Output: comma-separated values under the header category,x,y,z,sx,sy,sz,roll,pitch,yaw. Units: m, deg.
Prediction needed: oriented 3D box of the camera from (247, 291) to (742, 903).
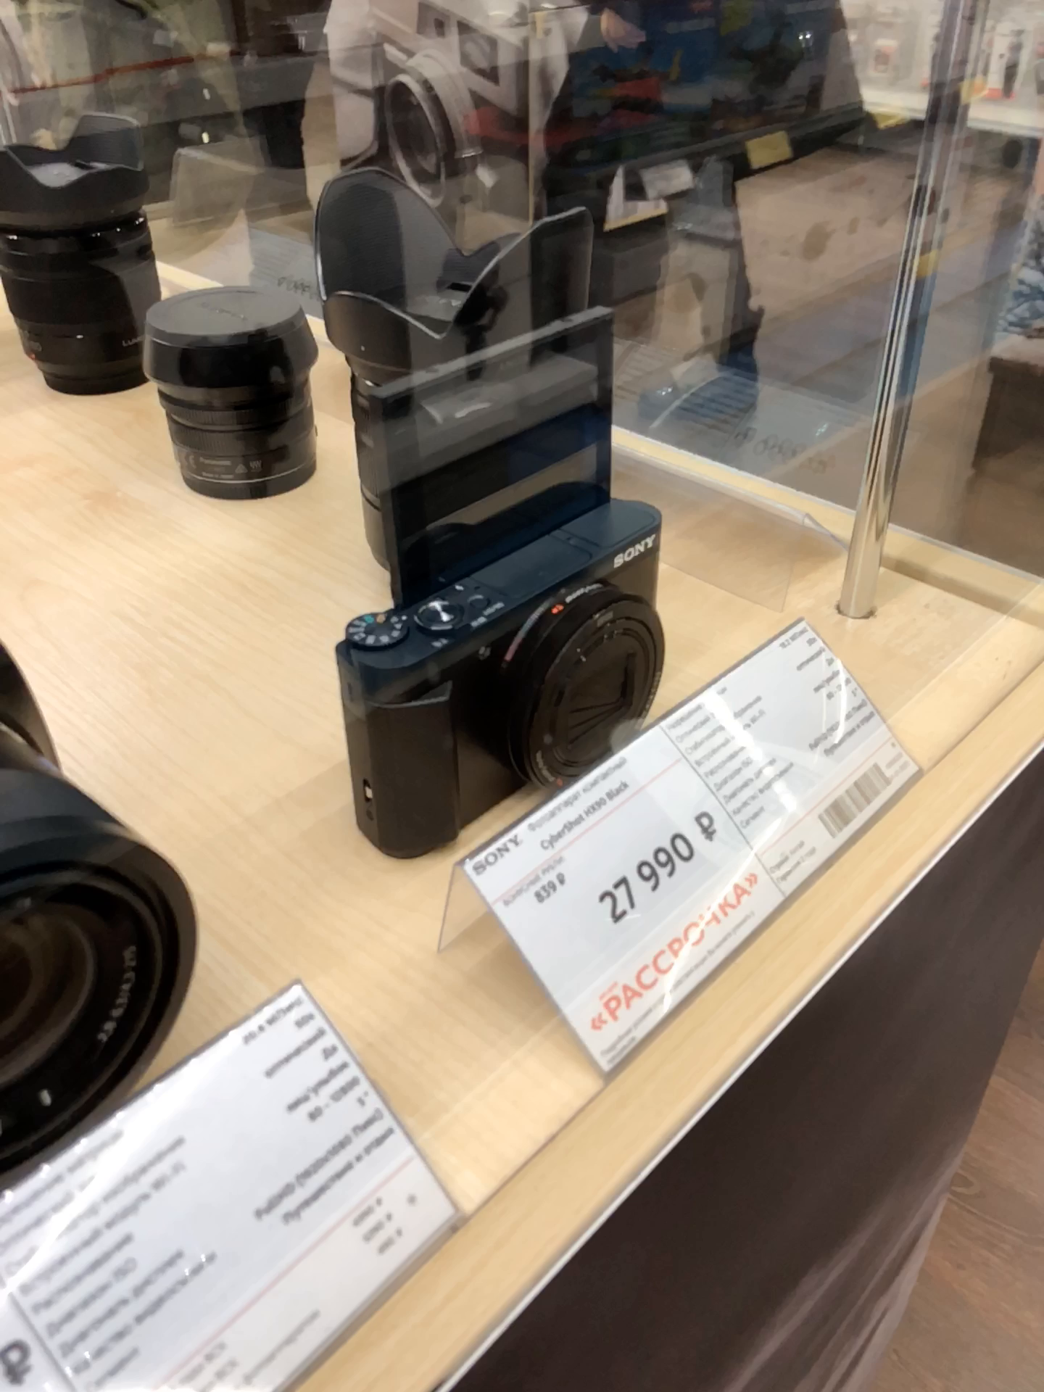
category,x,y,z,sx,sy,sz,roll,pitch,yaw
camera,-0.002,-0.027,0.277,0.050,0.107,0.100,29,45,34

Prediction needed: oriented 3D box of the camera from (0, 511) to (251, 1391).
category,x,y,z,sx,sy,sz,roll,pitch,yaw
camera,-0.153,0.043,0.221,0.136,0.078,0.133,29,45,34
